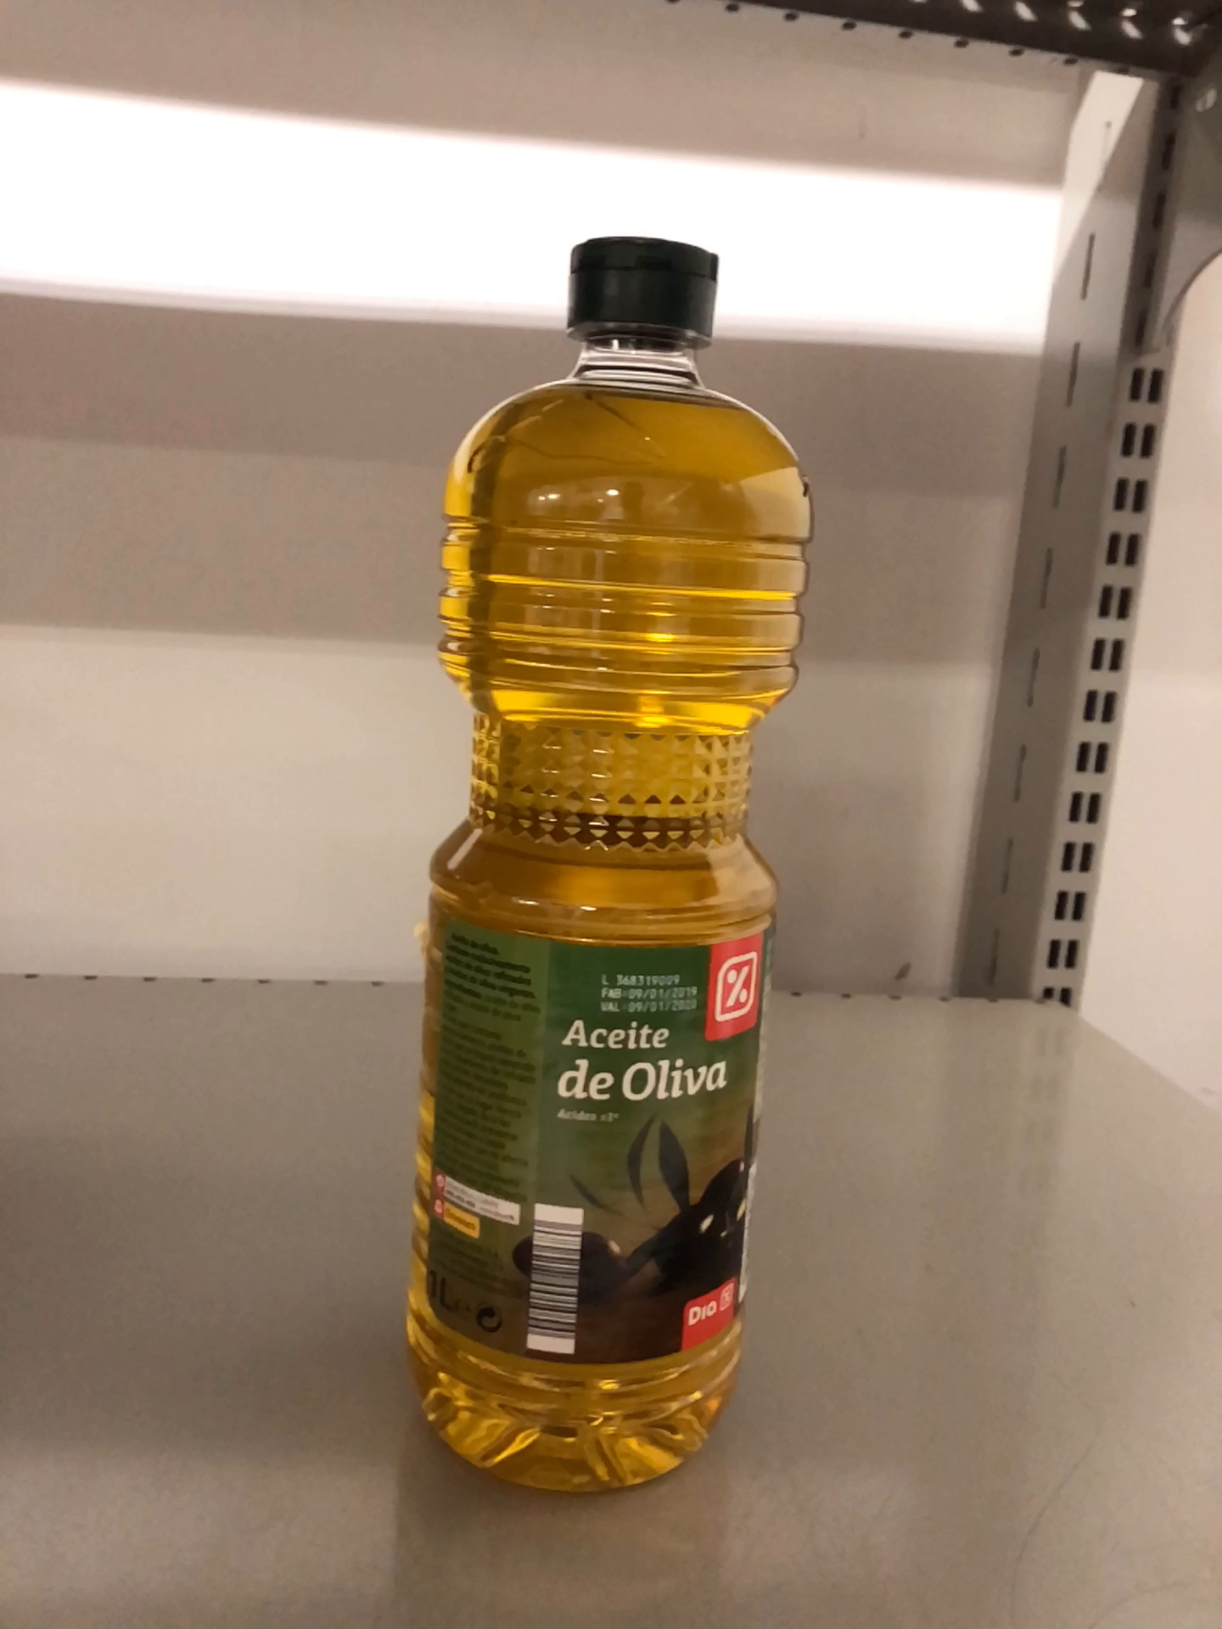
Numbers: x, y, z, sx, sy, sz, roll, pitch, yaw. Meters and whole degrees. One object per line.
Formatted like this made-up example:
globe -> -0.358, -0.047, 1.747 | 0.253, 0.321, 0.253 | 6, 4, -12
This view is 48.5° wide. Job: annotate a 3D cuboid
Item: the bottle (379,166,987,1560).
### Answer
bottle -> 0.008, 0.013, 0.279 | 0.080, 0.249, 0.060 | 0, 13, -27
